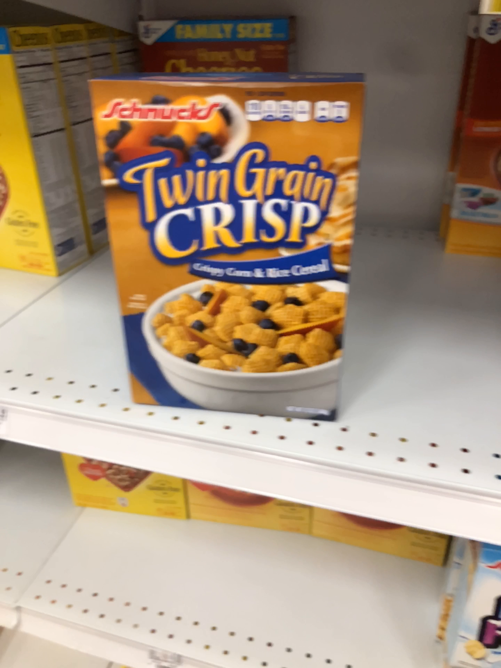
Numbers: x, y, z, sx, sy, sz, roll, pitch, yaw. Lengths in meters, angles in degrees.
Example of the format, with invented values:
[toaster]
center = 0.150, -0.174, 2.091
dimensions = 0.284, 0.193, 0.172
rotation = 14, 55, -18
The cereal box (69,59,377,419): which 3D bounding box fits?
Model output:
[cereal box]
center = -0.015, -0.071, 0.479
dimensions = 0.210, 0.289, 0.070
rotation = 4, 31, 7
